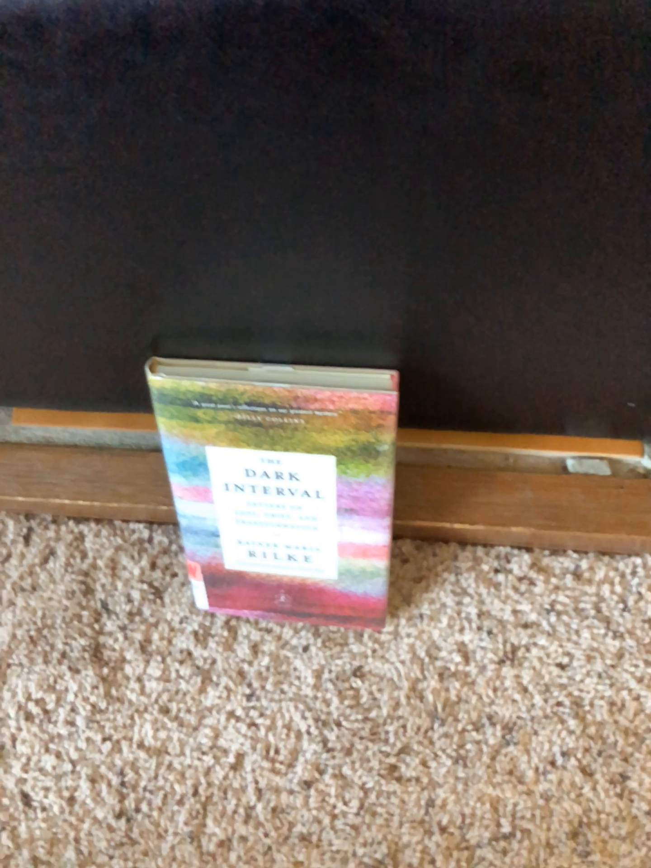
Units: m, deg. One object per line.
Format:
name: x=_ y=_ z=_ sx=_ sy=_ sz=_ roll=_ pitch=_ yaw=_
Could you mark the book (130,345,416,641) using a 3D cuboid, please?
book: x=-0.024 y=0.042 z=0.412 sx=0.135 sy=0.190 sz=0.030 roll=4 pitch=40 yaw=5
